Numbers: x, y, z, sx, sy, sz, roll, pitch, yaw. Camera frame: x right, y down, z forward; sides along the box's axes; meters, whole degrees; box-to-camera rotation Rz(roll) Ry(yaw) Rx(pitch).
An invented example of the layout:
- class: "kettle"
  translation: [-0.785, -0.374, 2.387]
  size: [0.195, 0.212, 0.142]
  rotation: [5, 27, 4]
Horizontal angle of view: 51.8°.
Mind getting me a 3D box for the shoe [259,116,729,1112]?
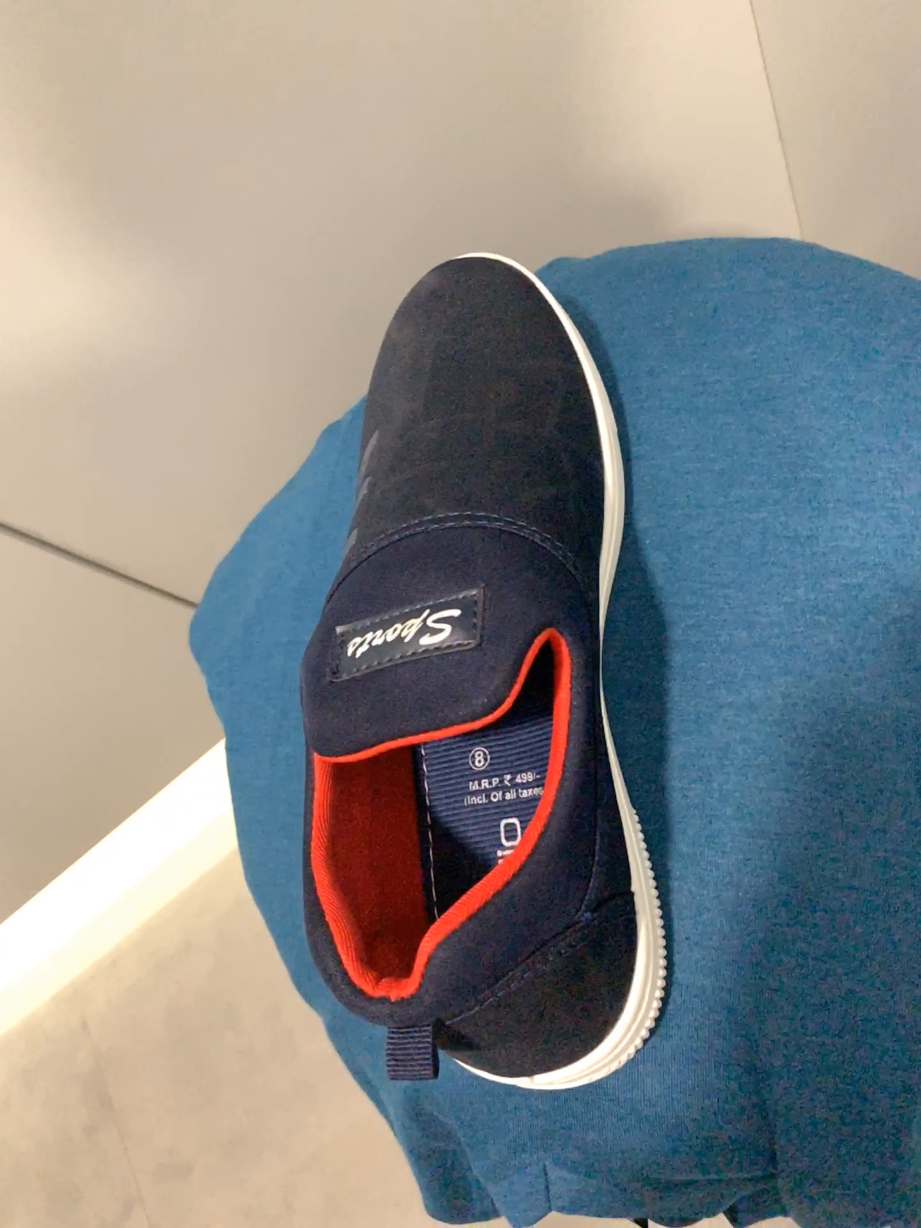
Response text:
- class: "shoe"
  translation: [0.006, 0.000, 0.294]
  size: [0.090, 0.100, 0.260]
  rotation: [-13, 69, 23]
